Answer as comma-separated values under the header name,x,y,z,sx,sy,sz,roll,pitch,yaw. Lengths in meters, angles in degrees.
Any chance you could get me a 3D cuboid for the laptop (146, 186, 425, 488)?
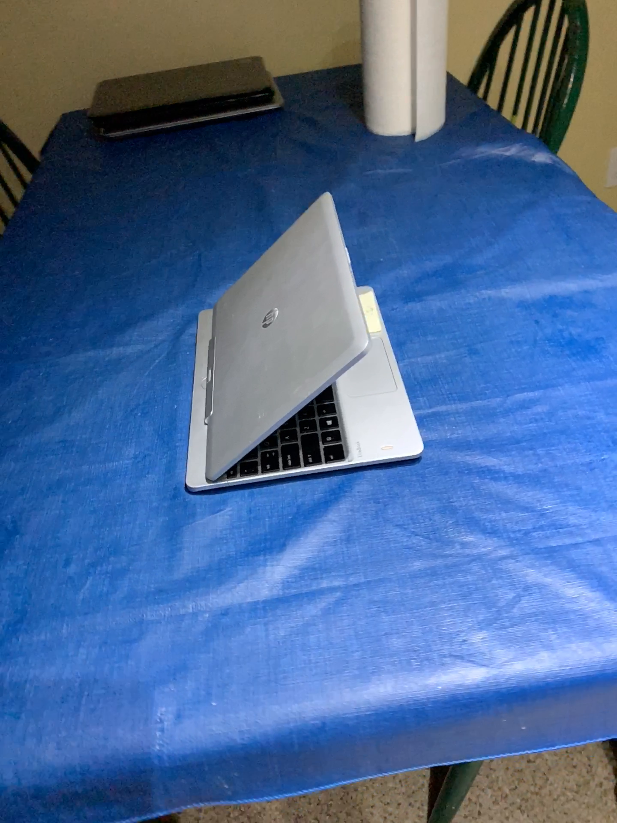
name,x,y,z,sx,sy,sz,roll,pitch,yaw
laptop,-0.023,-0.087,0.608,0.207,0.122,0.282,-9,42,1
